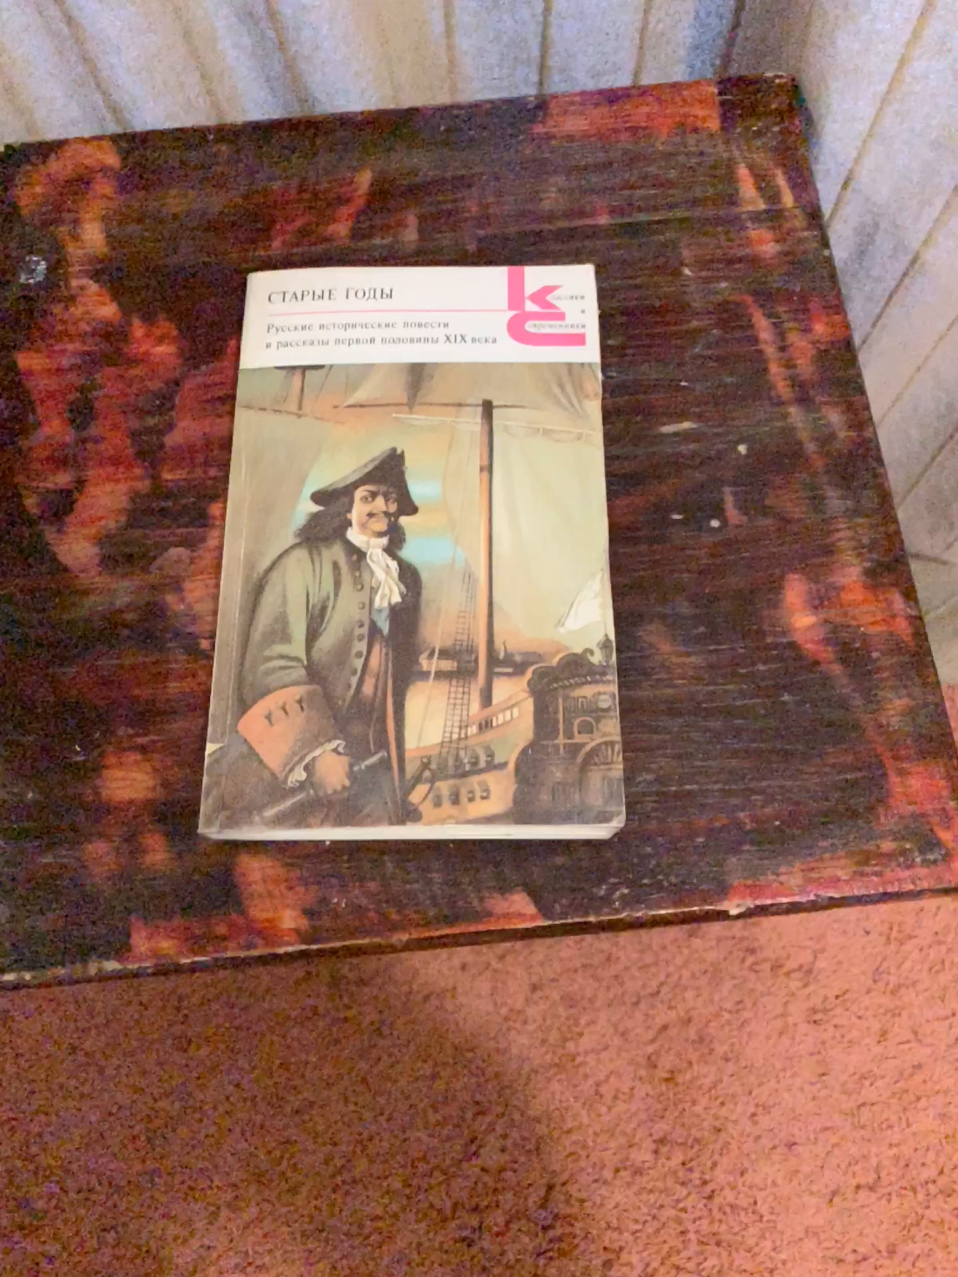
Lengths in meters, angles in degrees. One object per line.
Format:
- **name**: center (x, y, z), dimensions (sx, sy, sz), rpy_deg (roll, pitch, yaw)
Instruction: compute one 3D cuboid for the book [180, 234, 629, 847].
- **book**: center (-0.021, -0.036, 0.314), dimensions (0.123, 0.026, 0.198), rpy_deg (-1, 72, 2)
